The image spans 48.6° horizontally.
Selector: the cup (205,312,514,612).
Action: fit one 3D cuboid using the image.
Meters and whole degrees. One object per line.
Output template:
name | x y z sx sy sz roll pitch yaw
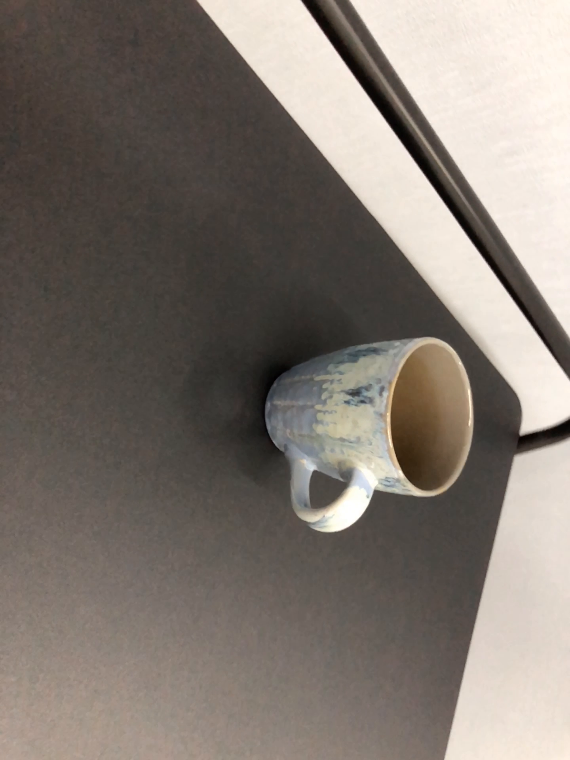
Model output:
cup | 0.045 0.042 0.354 0.089 0.107 0.120 47 57 -33
